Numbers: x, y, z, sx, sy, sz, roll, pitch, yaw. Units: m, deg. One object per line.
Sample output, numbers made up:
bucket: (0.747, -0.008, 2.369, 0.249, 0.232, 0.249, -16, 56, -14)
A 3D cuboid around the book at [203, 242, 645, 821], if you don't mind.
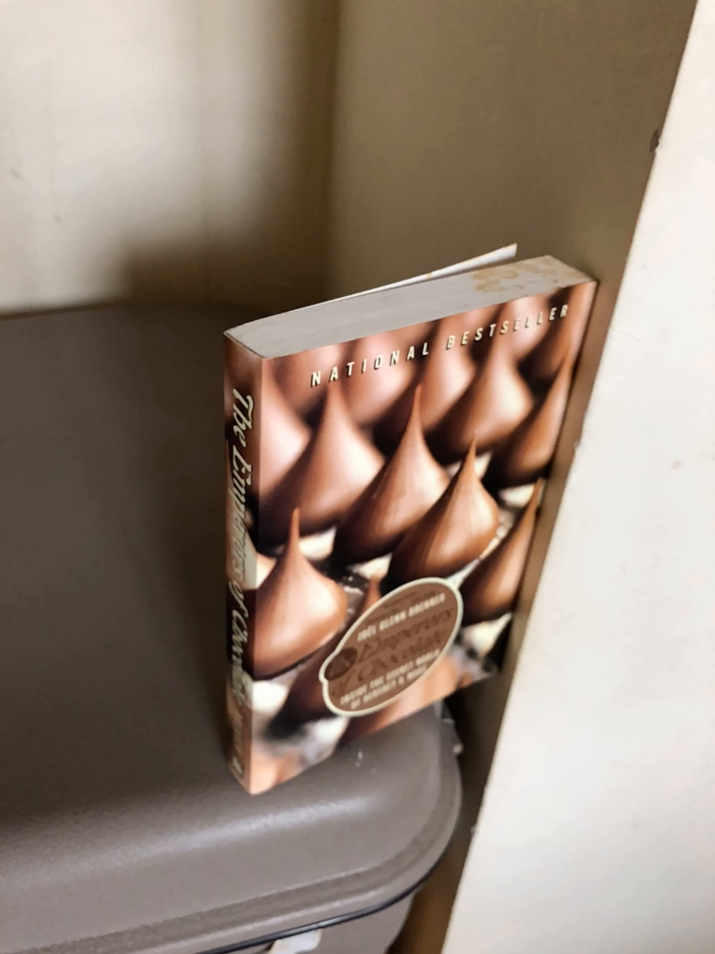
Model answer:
book: (0.024, 0.022, 0.322, 0.160, 0.199, 0.040, -20, 41, -32)
